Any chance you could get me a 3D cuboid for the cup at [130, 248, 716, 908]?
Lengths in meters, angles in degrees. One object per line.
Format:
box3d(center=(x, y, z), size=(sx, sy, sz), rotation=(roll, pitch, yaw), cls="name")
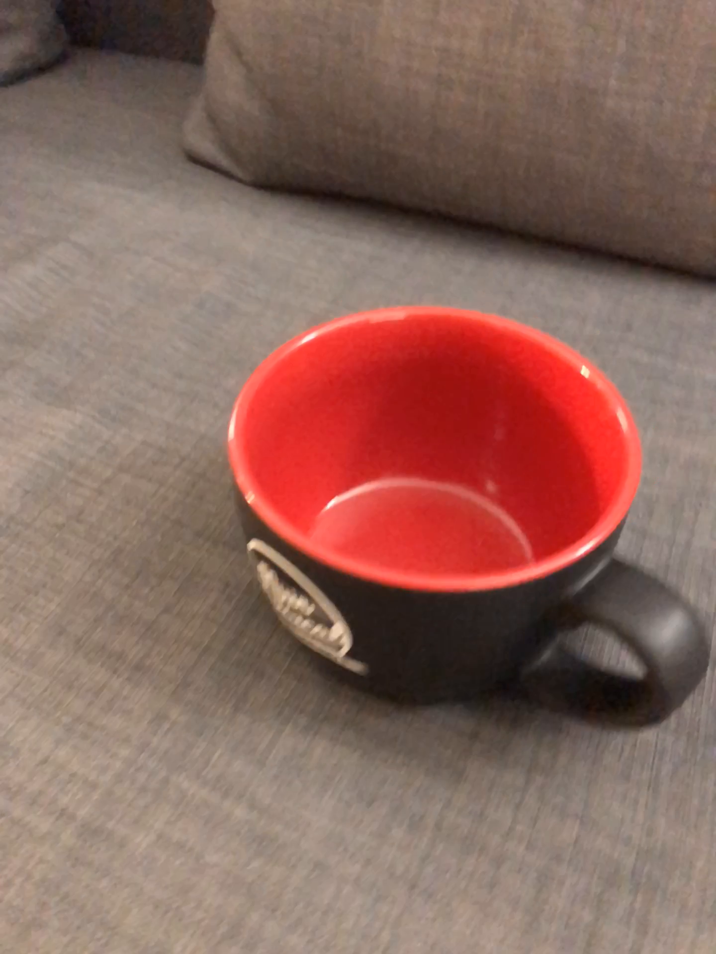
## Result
box3d(center=(0.032, 0.013, 0.251), size=(0.120, 0.080, 0.160), rotation=(-34, 53, -29), cls="cup")
